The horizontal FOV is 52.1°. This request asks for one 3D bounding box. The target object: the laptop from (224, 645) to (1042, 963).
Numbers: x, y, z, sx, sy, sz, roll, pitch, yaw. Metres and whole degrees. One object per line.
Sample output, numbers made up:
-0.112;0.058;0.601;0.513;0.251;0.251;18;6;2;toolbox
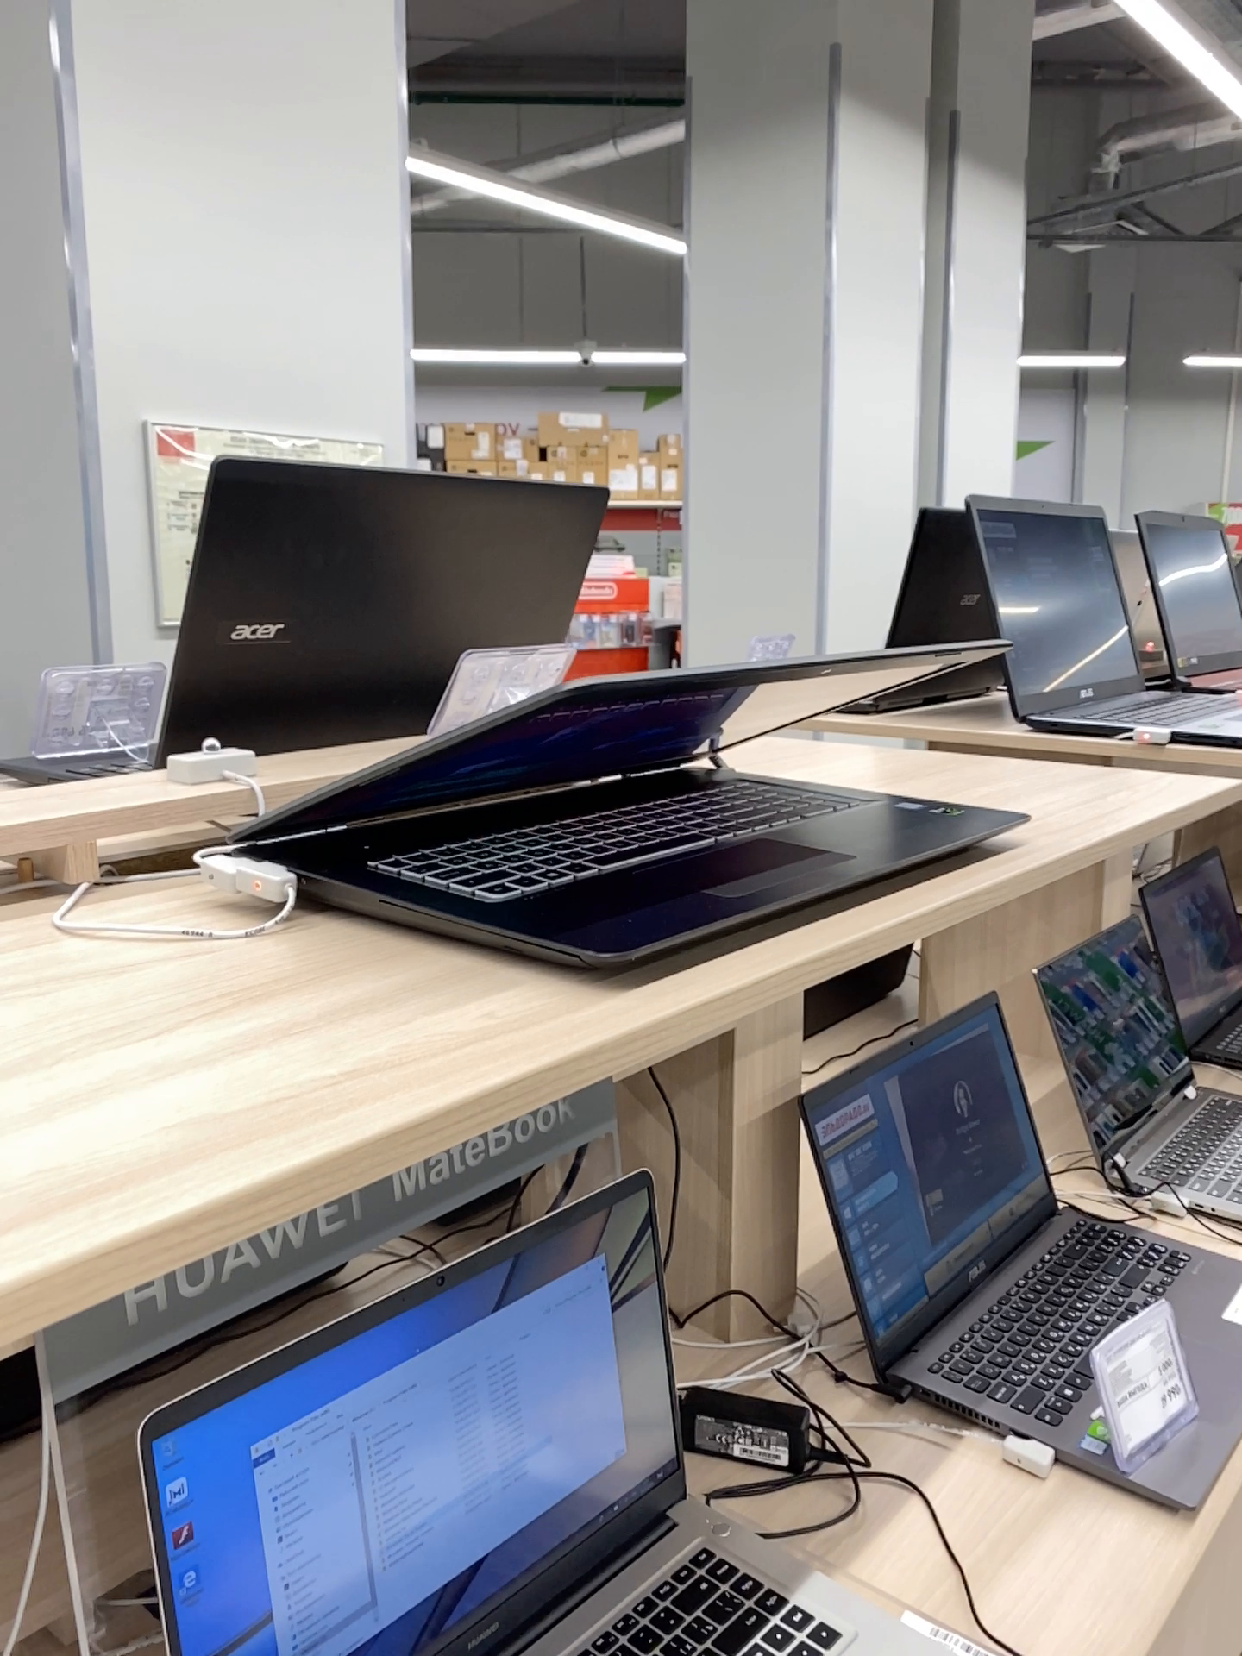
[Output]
0.028;-0.043;0.745;0.269;0.095;0.414;12;16;40;laptop
